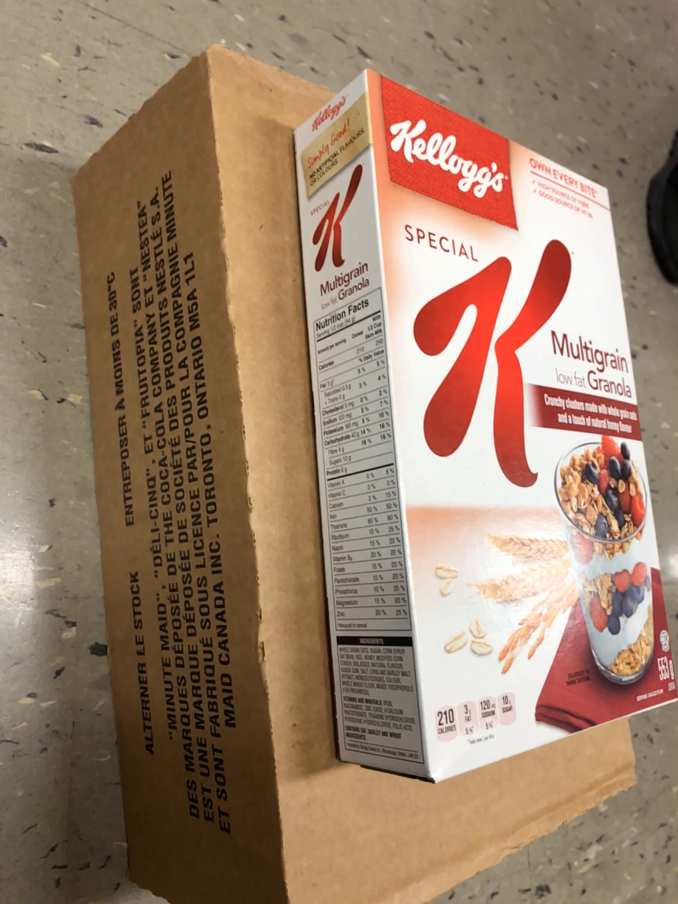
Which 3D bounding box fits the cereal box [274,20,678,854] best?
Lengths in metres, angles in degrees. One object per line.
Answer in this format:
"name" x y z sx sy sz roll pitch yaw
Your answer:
"cereal box" 0.068 -0.007 0.319 0.181 0.050 0.270 7 72 -46
